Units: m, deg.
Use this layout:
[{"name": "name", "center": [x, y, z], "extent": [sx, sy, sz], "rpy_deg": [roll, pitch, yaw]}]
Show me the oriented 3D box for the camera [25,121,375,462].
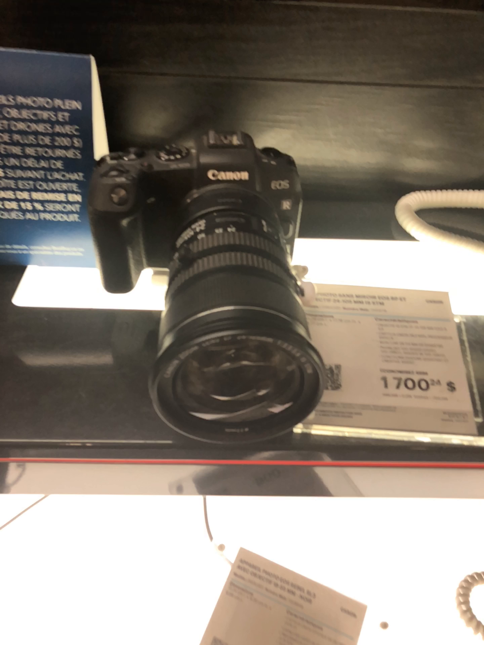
[{"name": "camera", "center": [-0.022, -0.030, 0.295], "extent": [0.128, 0.099, 0.178], "rpy_deg": [-1, 40, -4]}]
